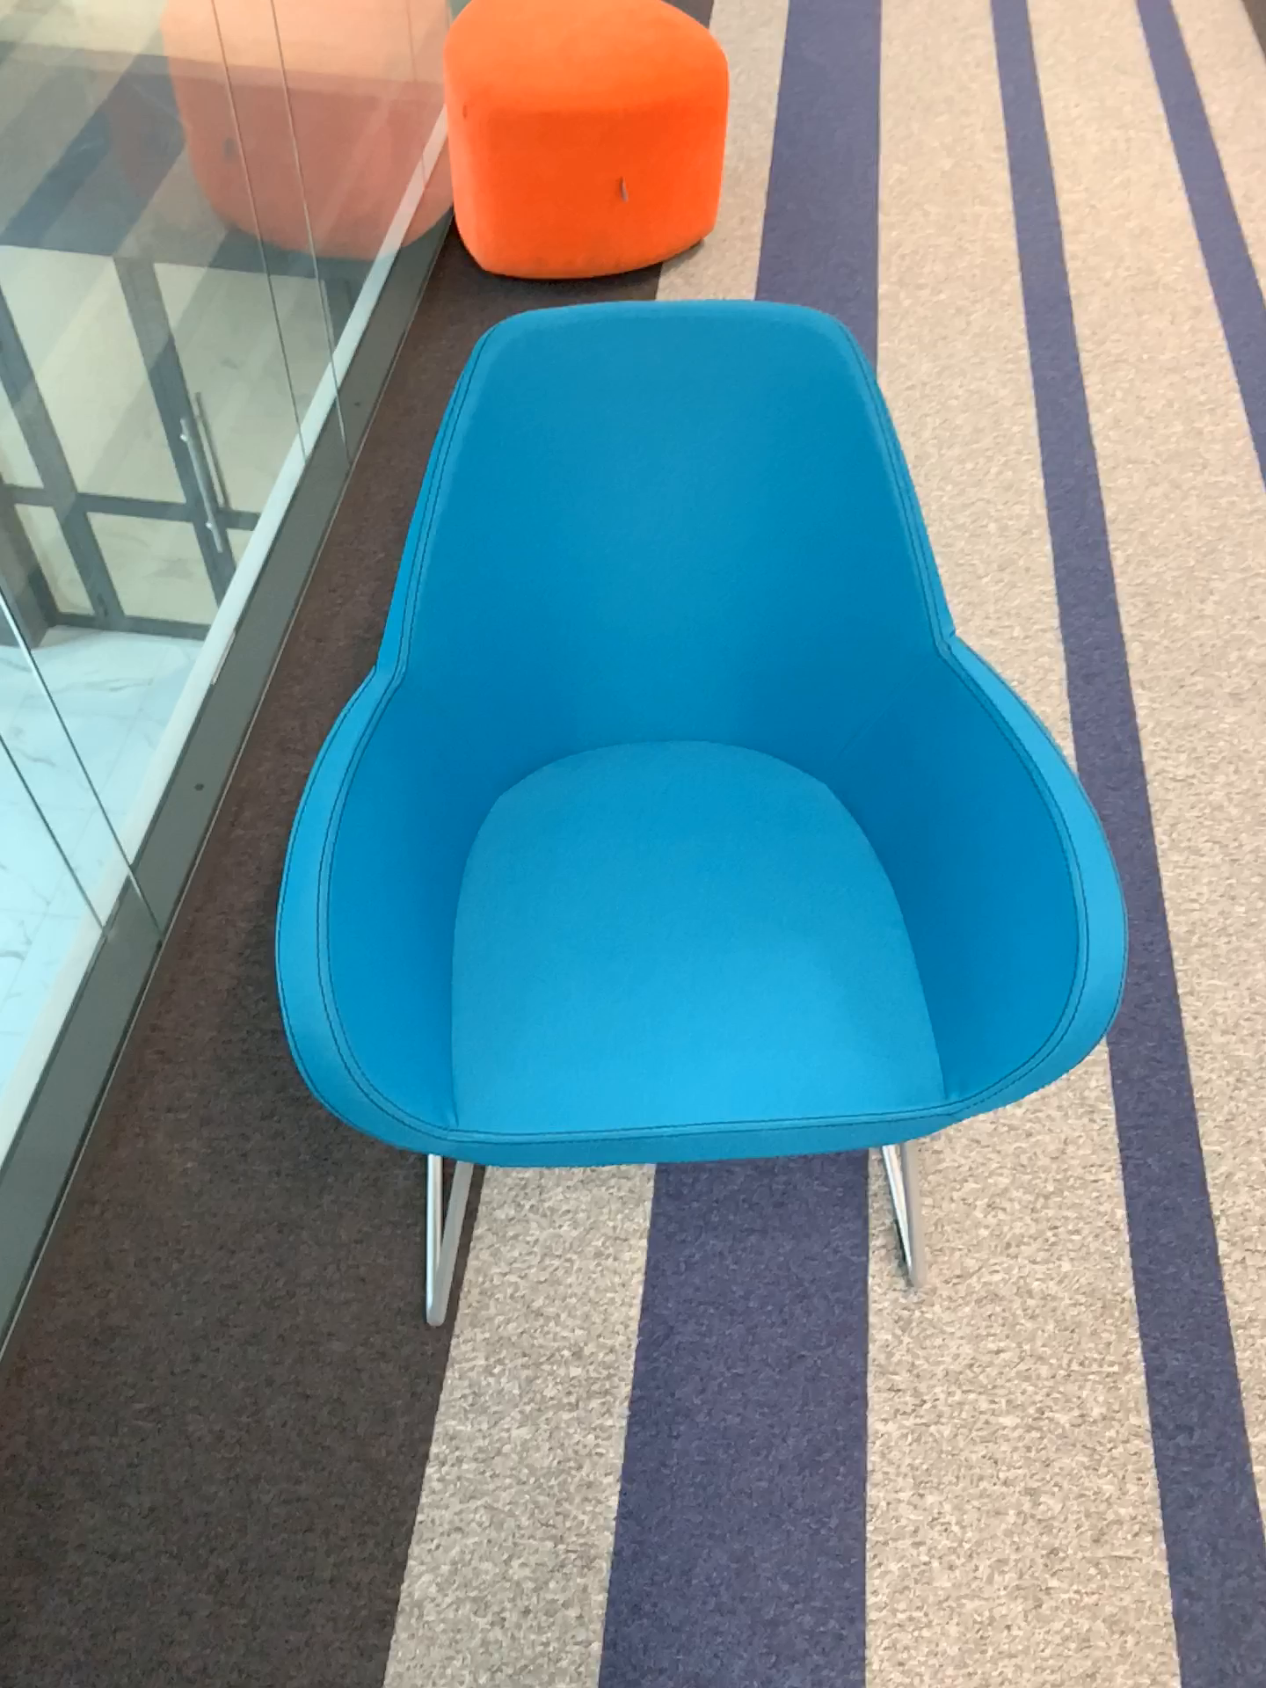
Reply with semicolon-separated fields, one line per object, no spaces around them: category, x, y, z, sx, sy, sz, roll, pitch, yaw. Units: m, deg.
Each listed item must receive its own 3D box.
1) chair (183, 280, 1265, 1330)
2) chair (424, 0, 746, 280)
chair;0.039;0.009;1.300;0.671;0.837;0.652;-2;53;-4
chair;-0.121;-1.642;2.933;0.639;0.397;0.652;-2;53;-4
